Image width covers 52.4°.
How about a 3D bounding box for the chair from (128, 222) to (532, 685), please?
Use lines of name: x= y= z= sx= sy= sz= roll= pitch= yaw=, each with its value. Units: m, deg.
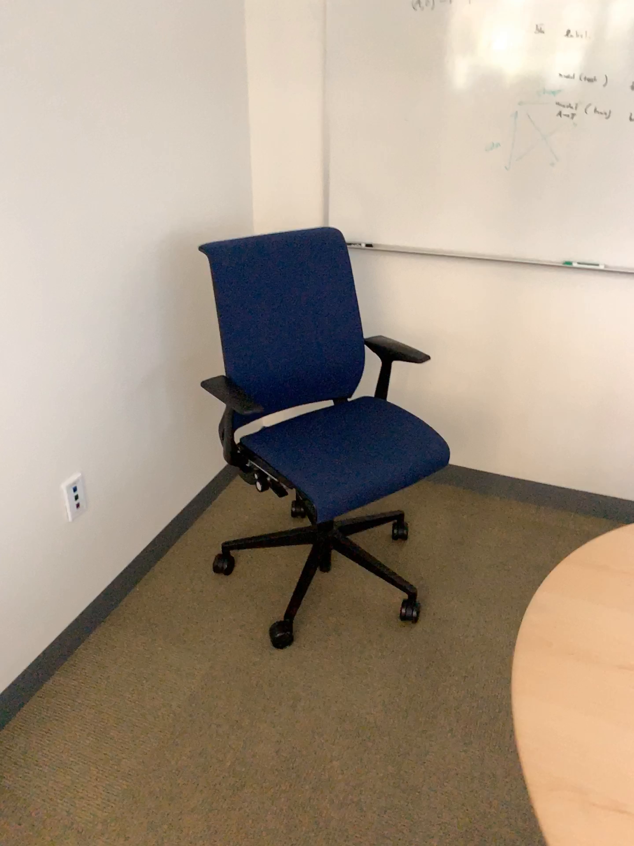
chair: x=-0.024 y=-0.015 z=2.070 sx=0.740 sy=0.994 sz=0.985 roll=-16 pitch=31 yaw=-28
